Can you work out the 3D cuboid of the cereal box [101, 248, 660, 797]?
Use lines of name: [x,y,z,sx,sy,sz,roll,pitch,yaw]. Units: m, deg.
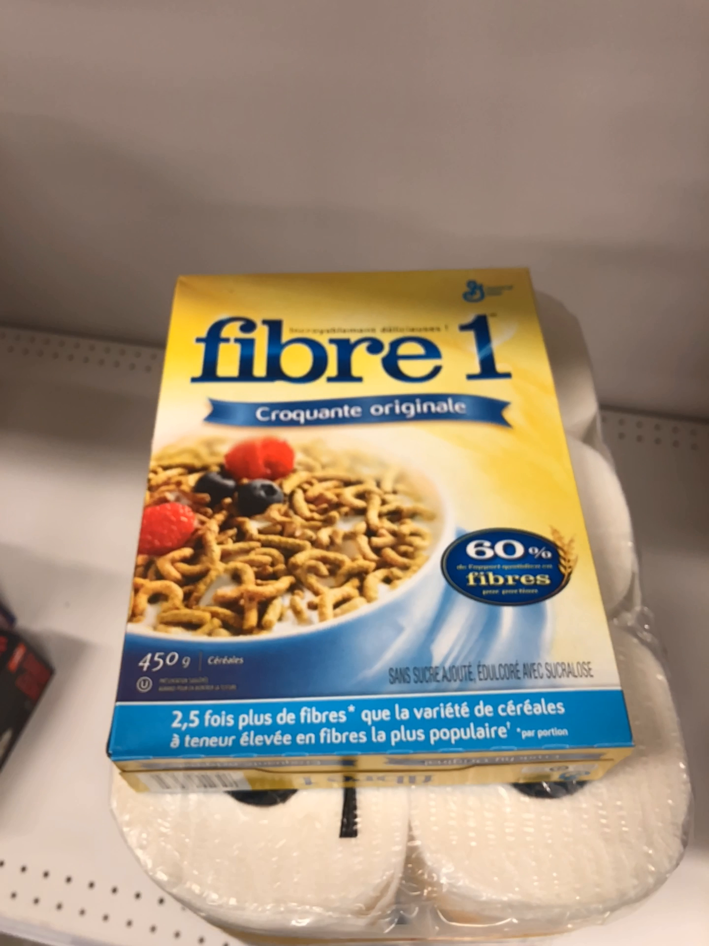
cereal box: [0.008,0.009,0.381,0.200,0.060,0.261,-1,58,0]
